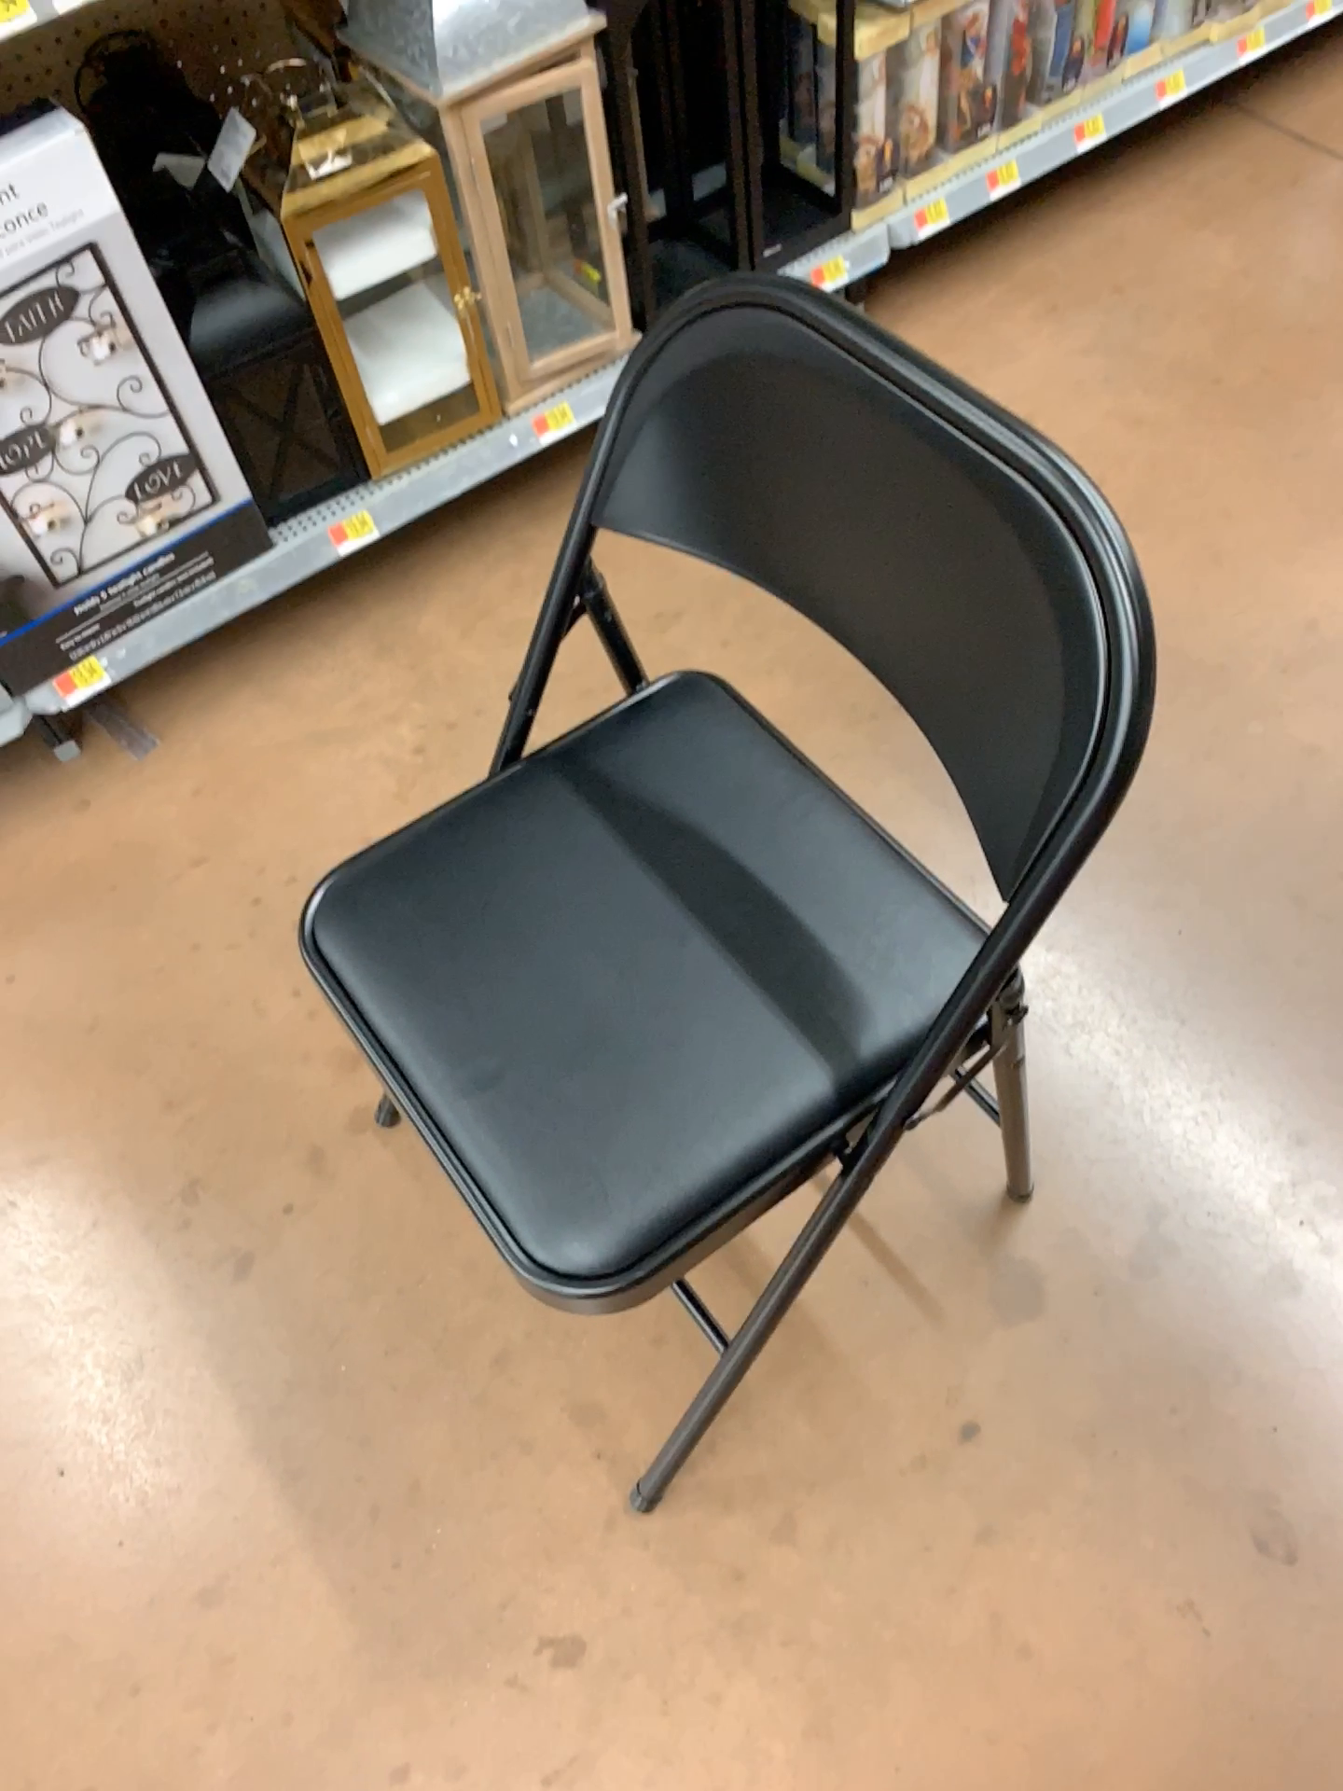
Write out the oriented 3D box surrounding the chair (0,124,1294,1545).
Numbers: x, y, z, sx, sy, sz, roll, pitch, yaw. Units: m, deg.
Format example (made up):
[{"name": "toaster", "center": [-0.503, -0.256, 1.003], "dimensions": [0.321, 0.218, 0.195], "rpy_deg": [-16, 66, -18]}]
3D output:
[{"name": "chair", "center": [-0.036, 0.020, 0.914], "dimensions": [0.470, 0.698, 0.471], "rpy_deg": [-34, 60, -15]}]
